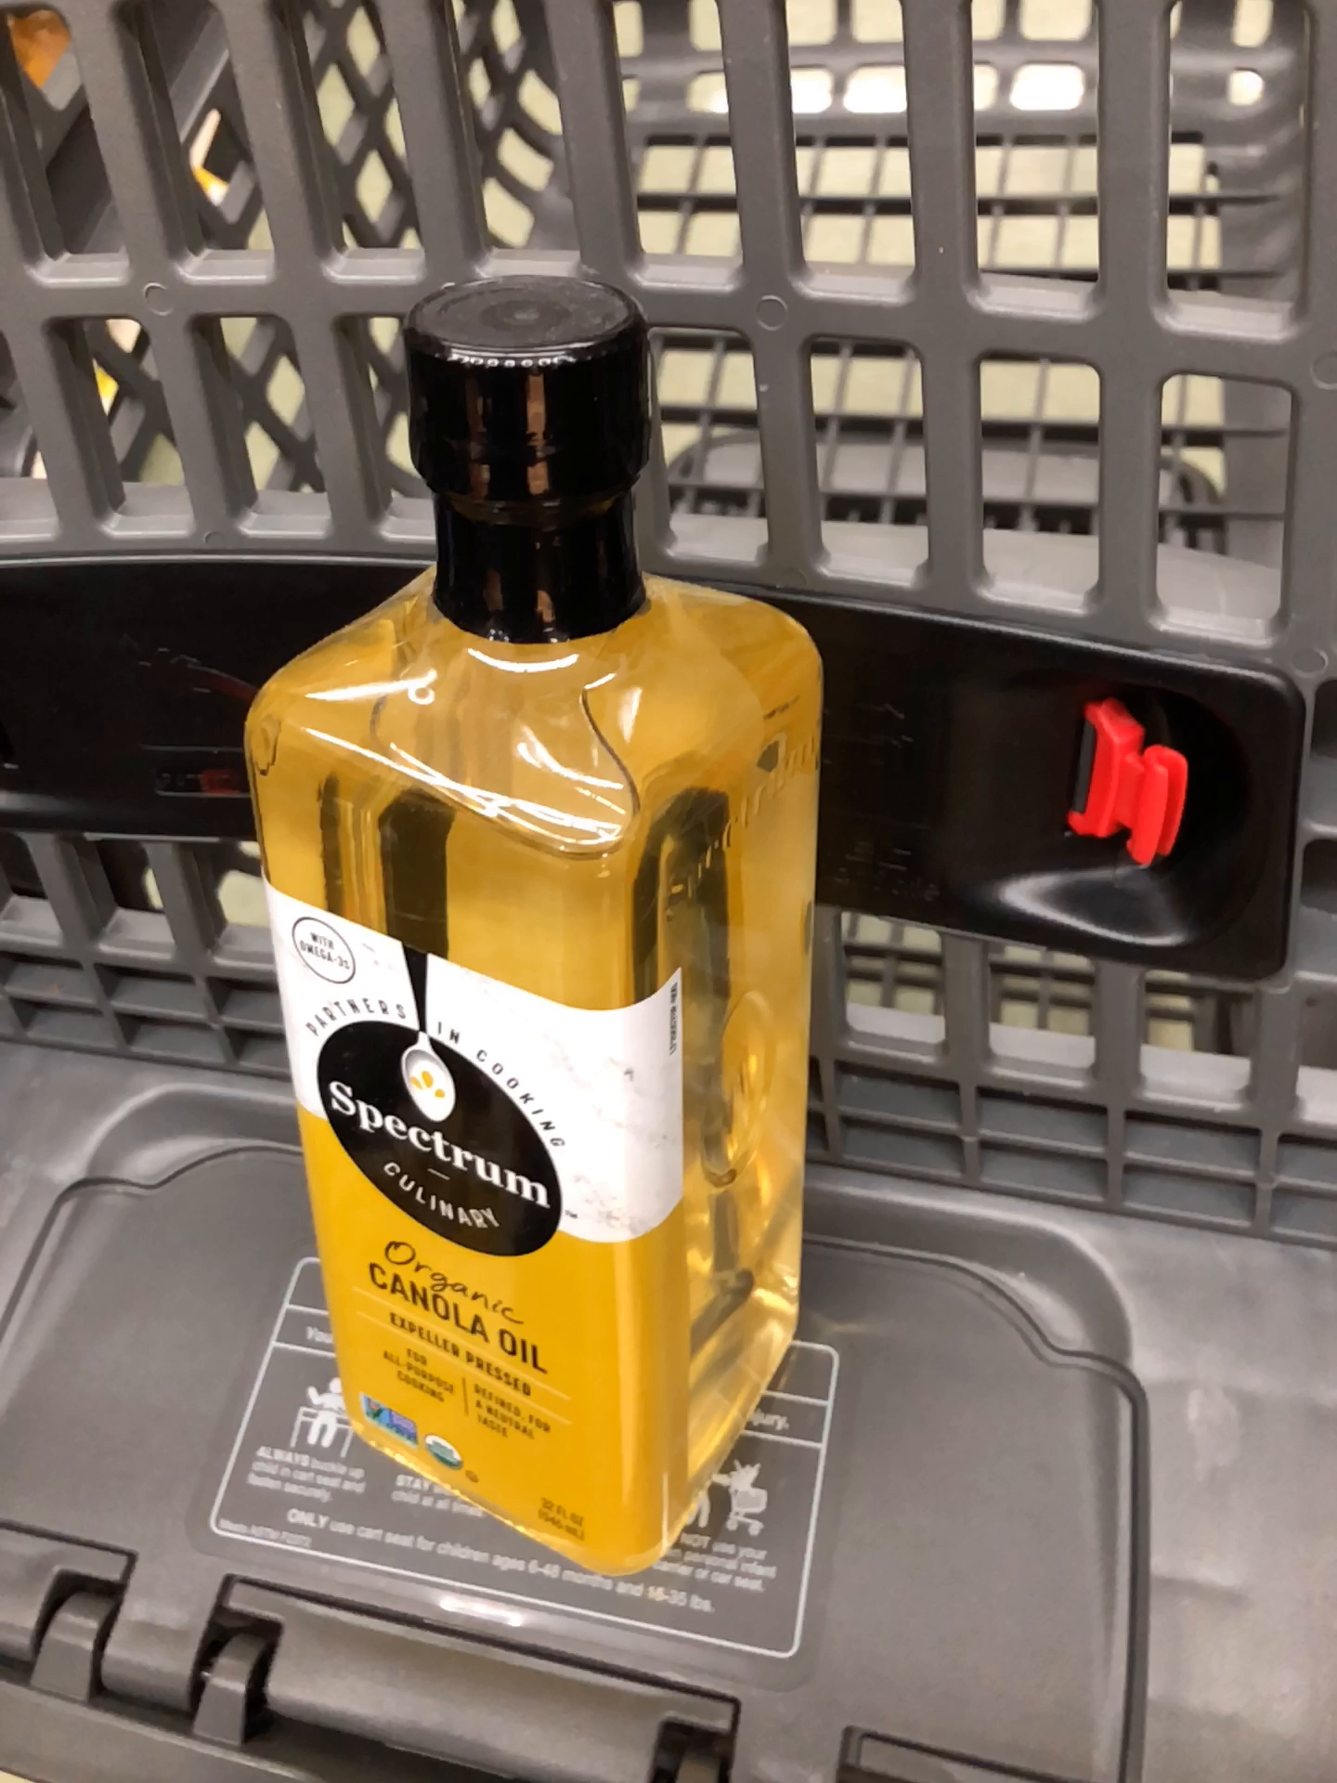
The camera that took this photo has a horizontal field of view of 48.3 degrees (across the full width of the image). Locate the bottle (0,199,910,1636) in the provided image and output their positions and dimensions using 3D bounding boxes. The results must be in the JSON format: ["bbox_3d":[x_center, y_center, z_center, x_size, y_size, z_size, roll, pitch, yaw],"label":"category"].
[{"bbox_3d":[-0.027,0.018,0.283,0.090,0.250,0.090,0,38,0],"label":"bottle"}]
